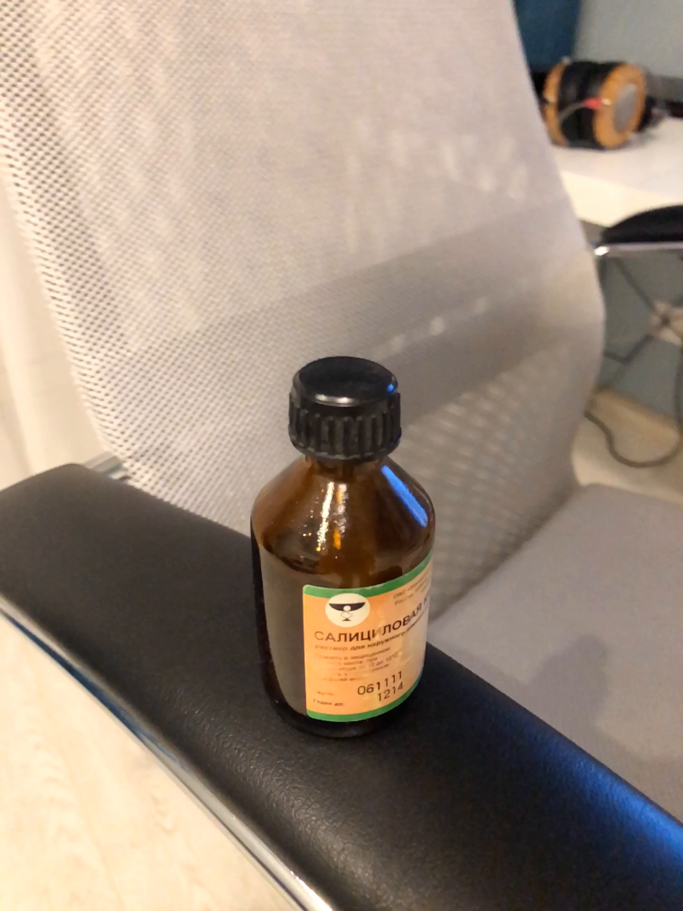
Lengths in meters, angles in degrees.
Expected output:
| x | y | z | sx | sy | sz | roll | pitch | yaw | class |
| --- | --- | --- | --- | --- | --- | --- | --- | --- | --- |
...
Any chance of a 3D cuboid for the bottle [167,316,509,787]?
| x | y | z | sx | sy | sz | roll | pitch | yaw | class |
| --- | --- | --- | --- | --- | --- | --- | --- | --- | --- |
| 0.001 | 0.020 | 0.178 | 0.050 | 0.083 | 0.050 | -1 | 31 | 1 | bottle |
